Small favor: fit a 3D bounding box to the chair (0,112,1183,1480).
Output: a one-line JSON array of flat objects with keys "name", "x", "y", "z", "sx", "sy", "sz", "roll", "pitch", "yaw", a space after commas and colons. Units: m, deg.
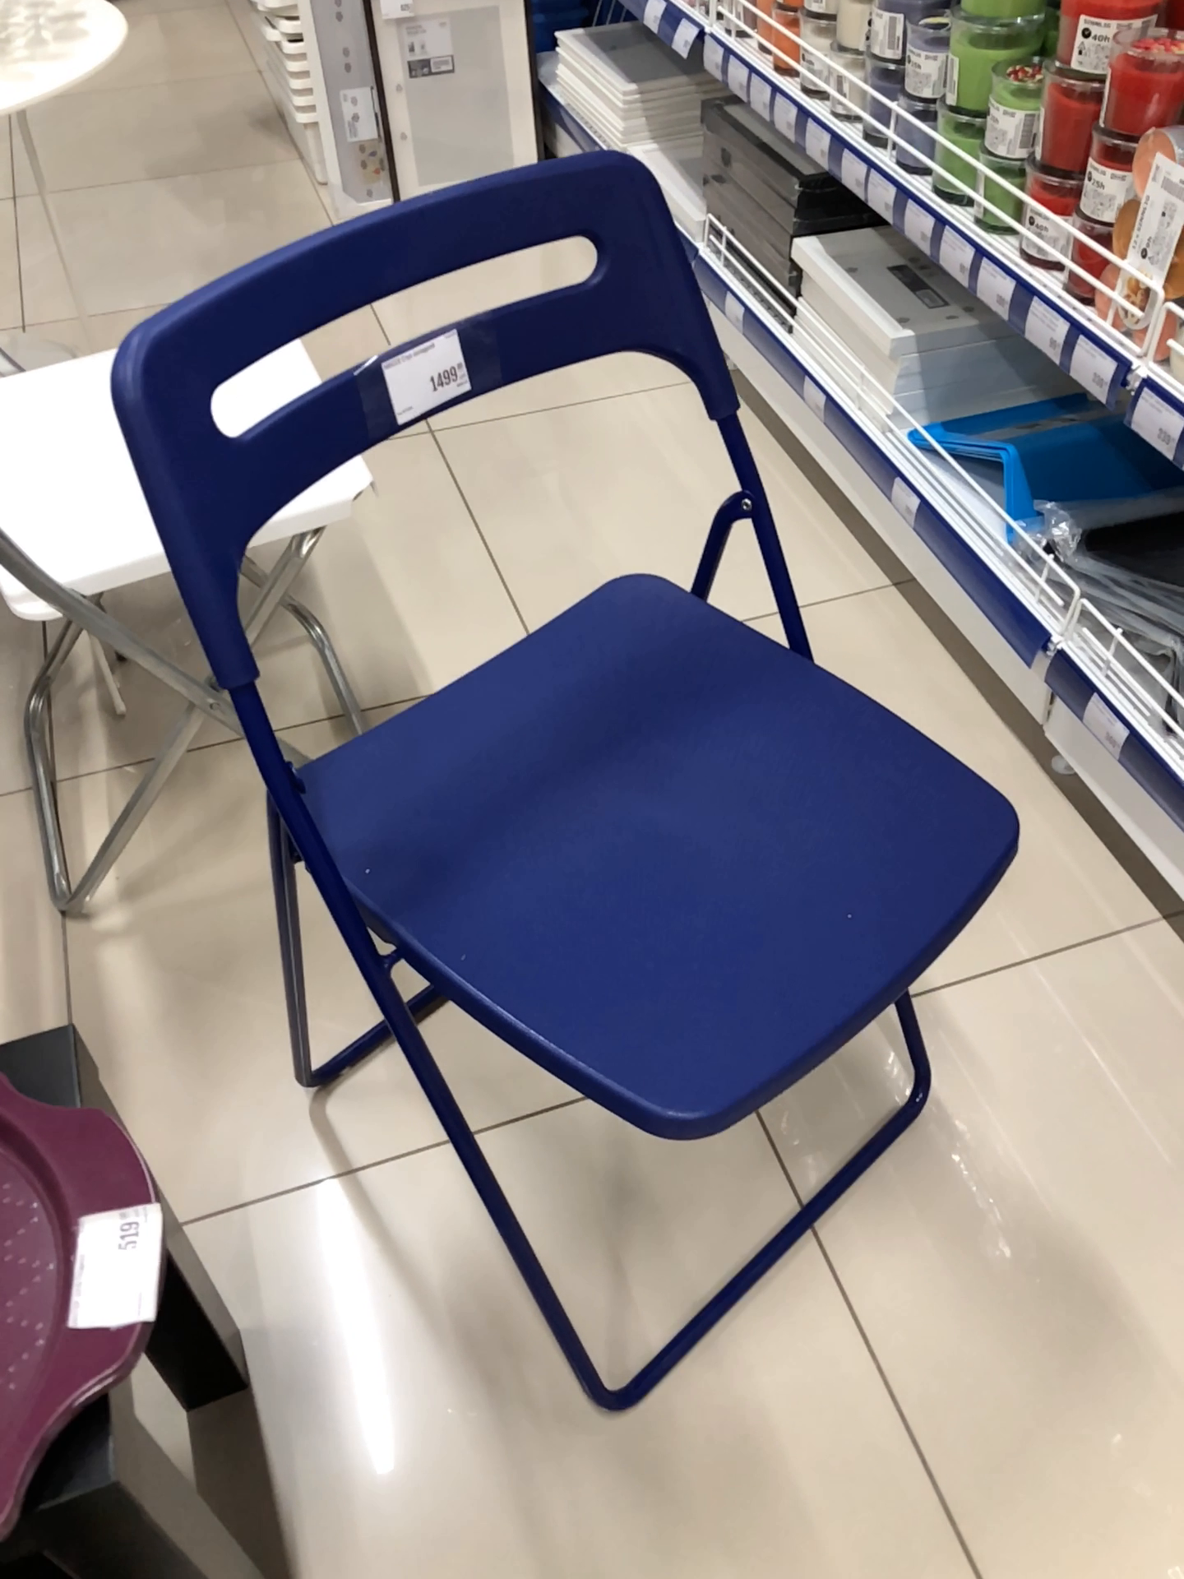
[{"name": "chair", "x": 0.016, "y": 0.018, "z": 0.902, "sx": 0.452, "sy": 0.705, "sz": 0.466, "roll": -35, "pitch": 54, "yaw": -28}]
